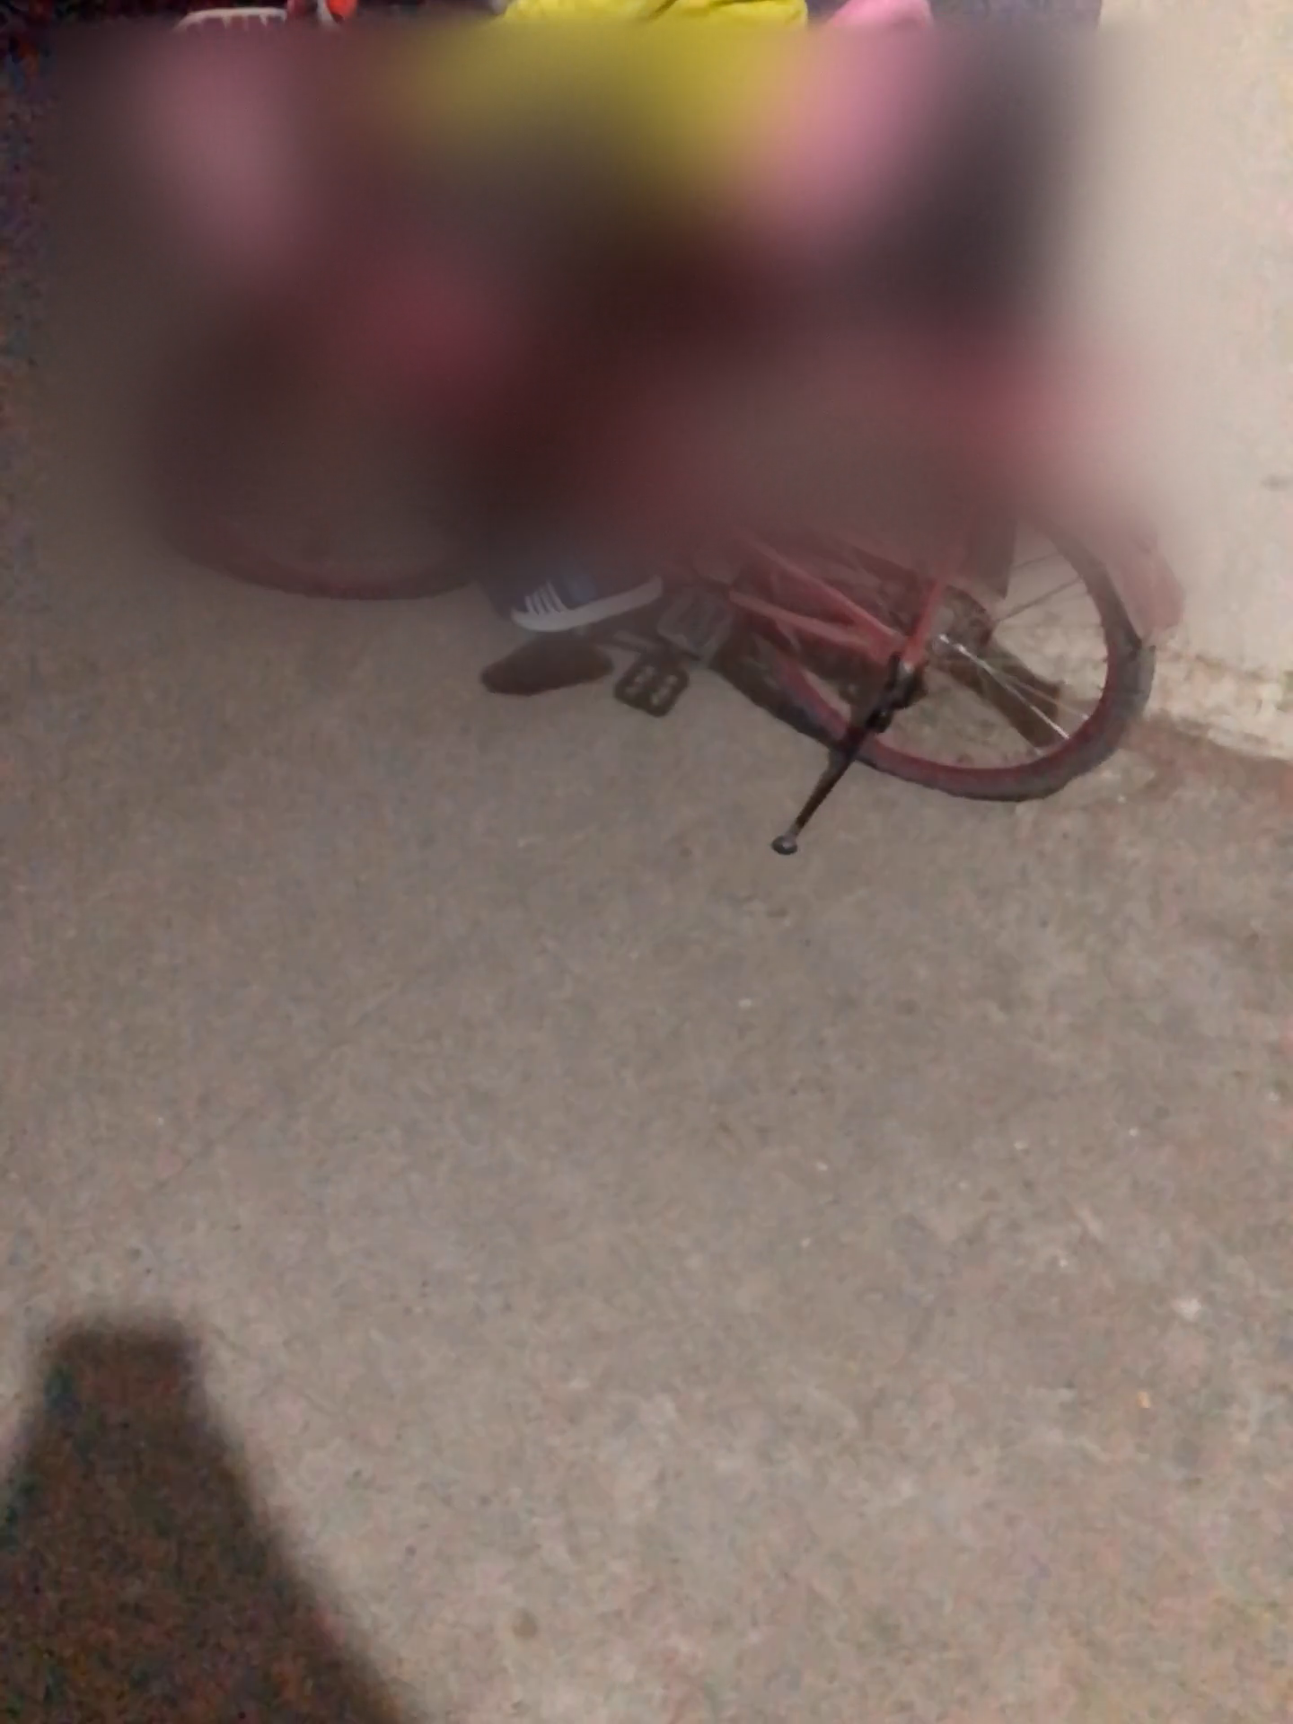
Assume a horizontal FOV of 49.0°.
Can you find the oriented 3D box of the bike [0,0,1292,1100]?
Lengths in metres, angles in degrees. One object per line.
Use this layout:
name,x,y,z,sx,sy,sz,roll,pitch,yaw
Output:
bike,-0.150,-0.461,1.410,1.277,0.909,0.497,19,42,20
